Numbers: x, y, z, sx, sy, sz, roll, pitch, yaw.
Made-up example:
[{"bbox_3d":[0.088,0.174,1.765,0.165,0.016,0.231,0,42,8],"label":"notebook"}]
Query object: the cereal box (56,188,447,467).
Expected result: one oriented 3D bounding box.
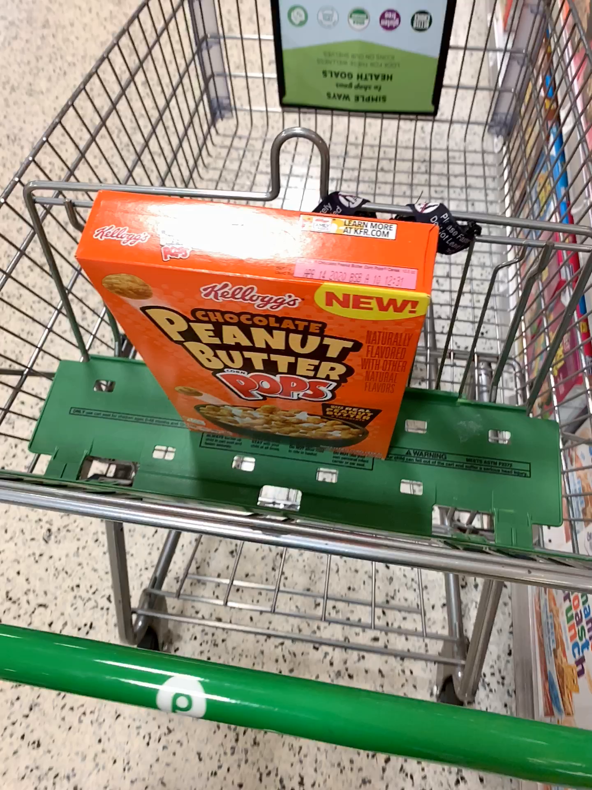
[{"bbox_3d":[-0.016,-0.025,0.453,0.200,0.288,0.050,7,68,6],"label":"cereal box"}]
